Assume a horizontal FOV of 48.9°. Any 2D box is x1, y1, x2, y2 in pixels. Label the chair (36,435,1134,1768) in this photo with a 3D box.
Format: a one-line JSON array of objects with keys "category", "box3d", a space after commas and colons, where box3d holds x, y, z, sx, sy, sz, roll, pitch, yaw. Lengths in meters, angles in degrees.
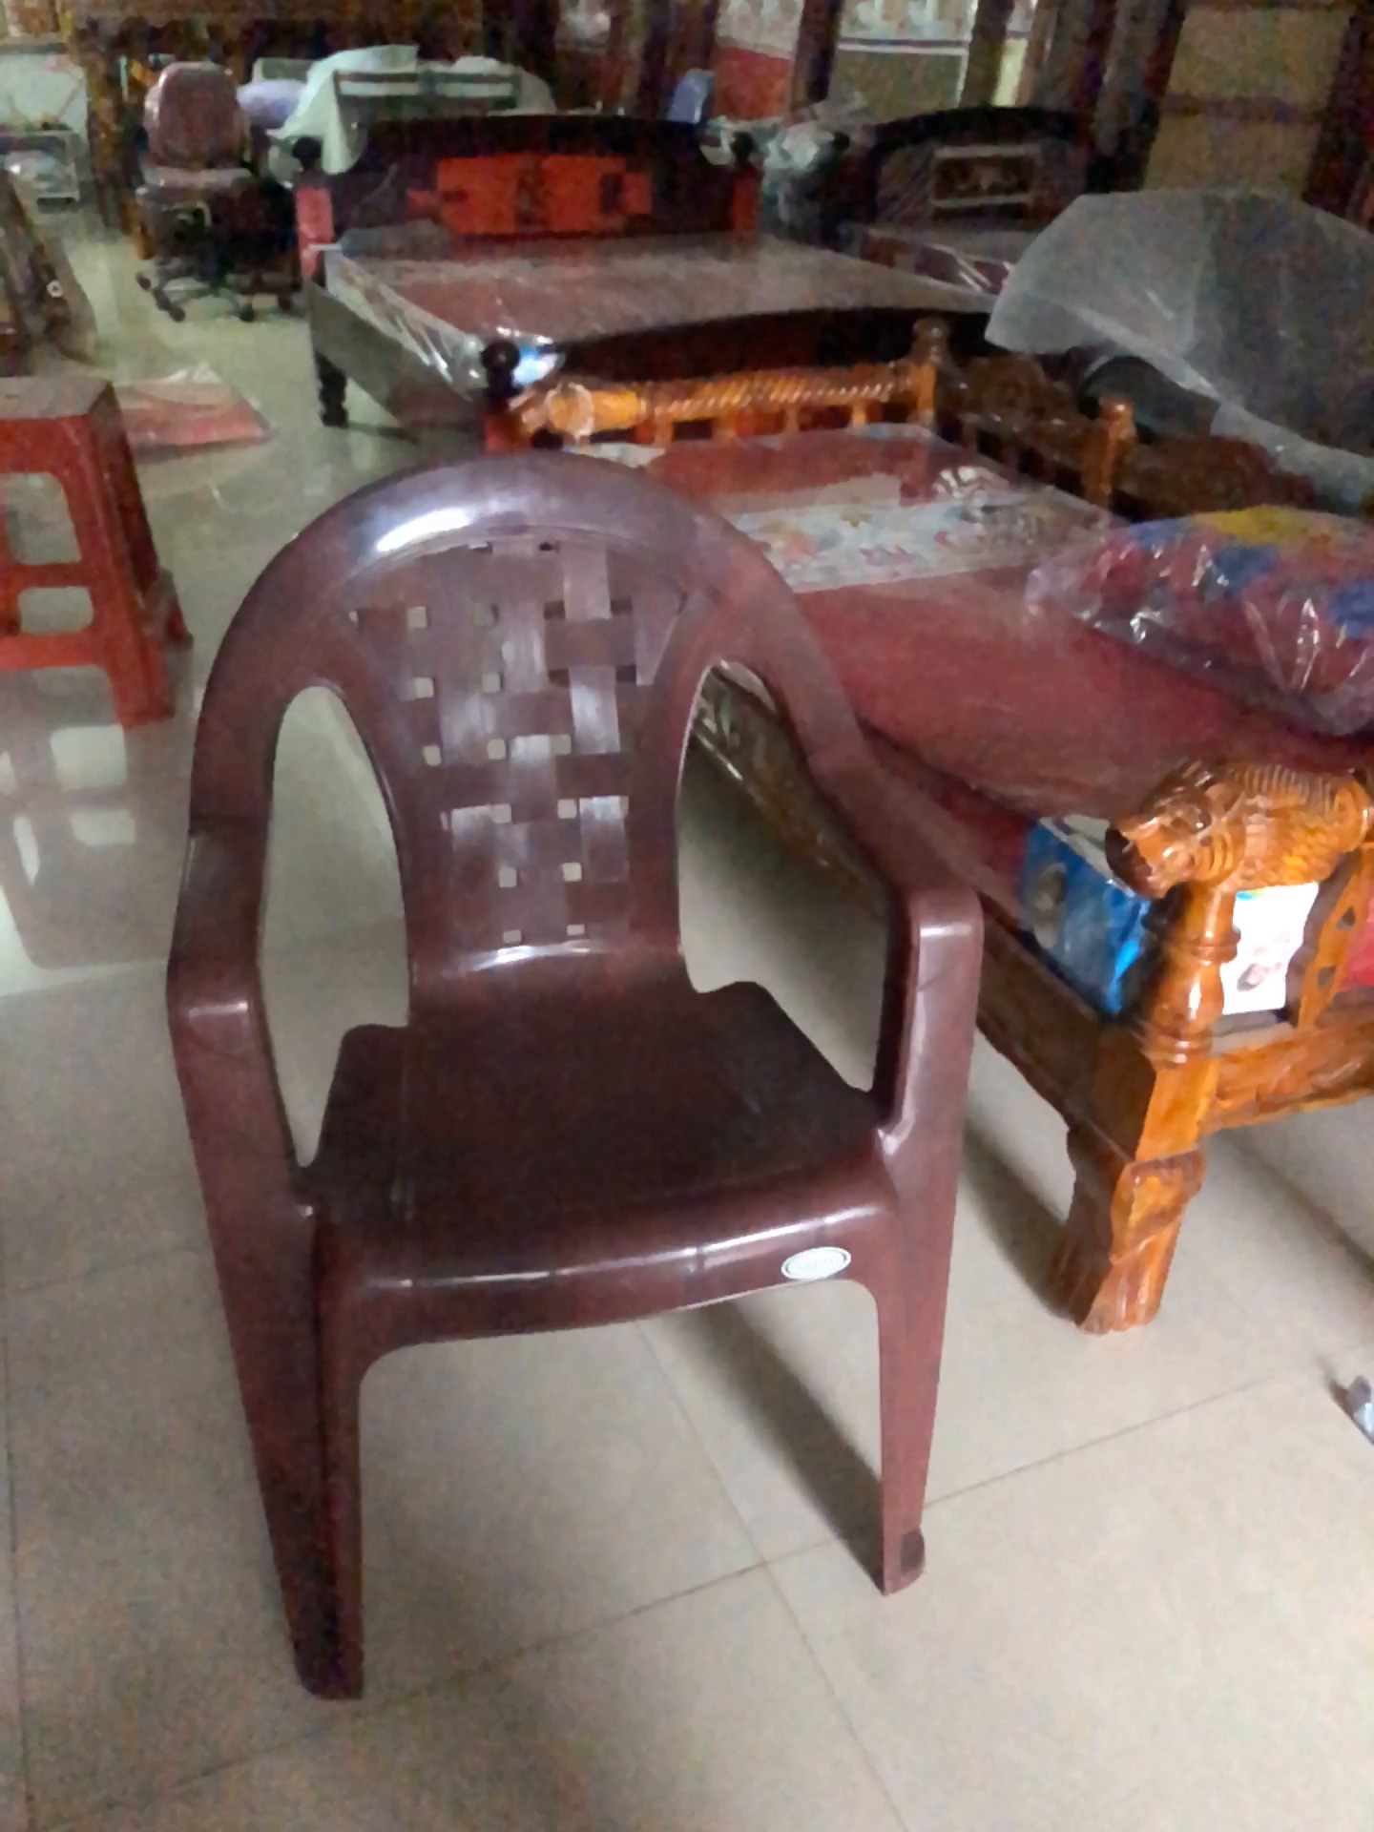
[{"category": "chair", "box3d": [-0.115, 0.105, 1.274, 0.601, 0.836, 0.612, -7, 31, -13]}]
